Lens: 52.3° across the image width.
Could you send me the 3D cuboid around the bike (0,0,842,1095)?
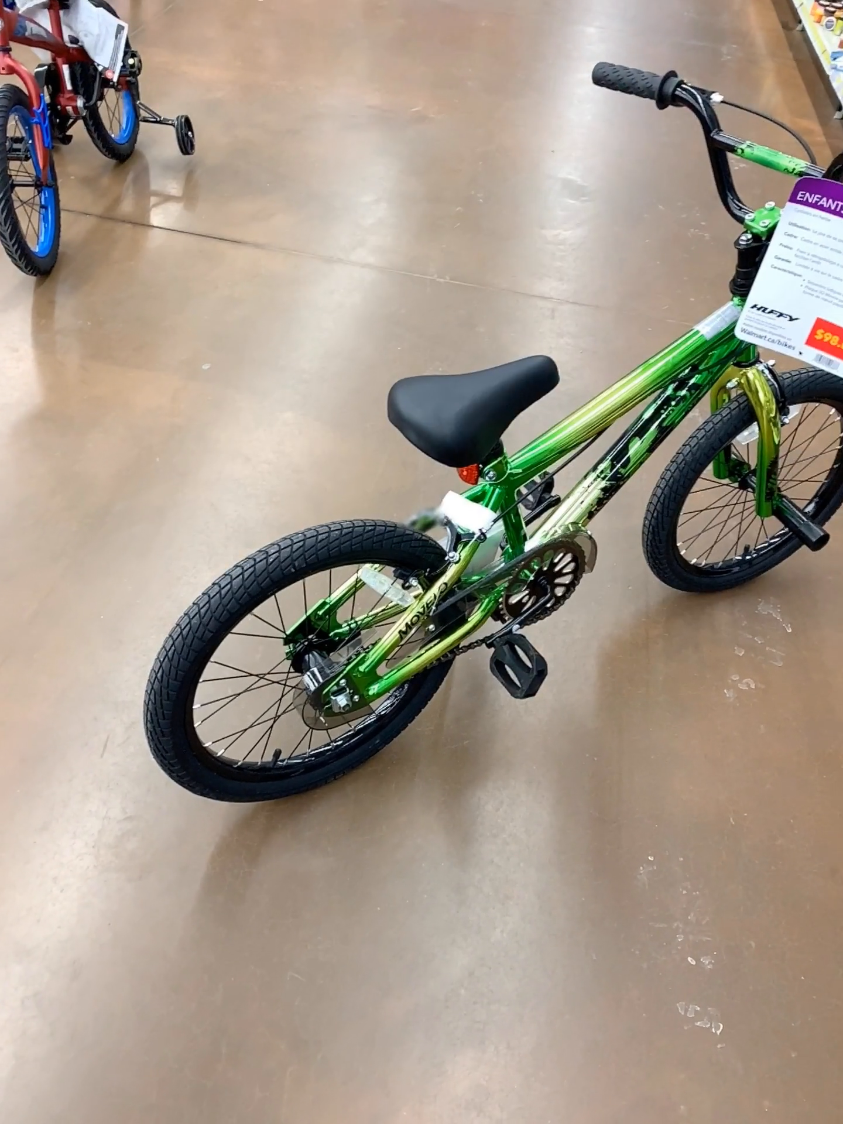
[{"bbox_3d":[0.360,-0.132,1.167,1.407,1.034,0.719,-22,51,-19],"label":"bike"}]
